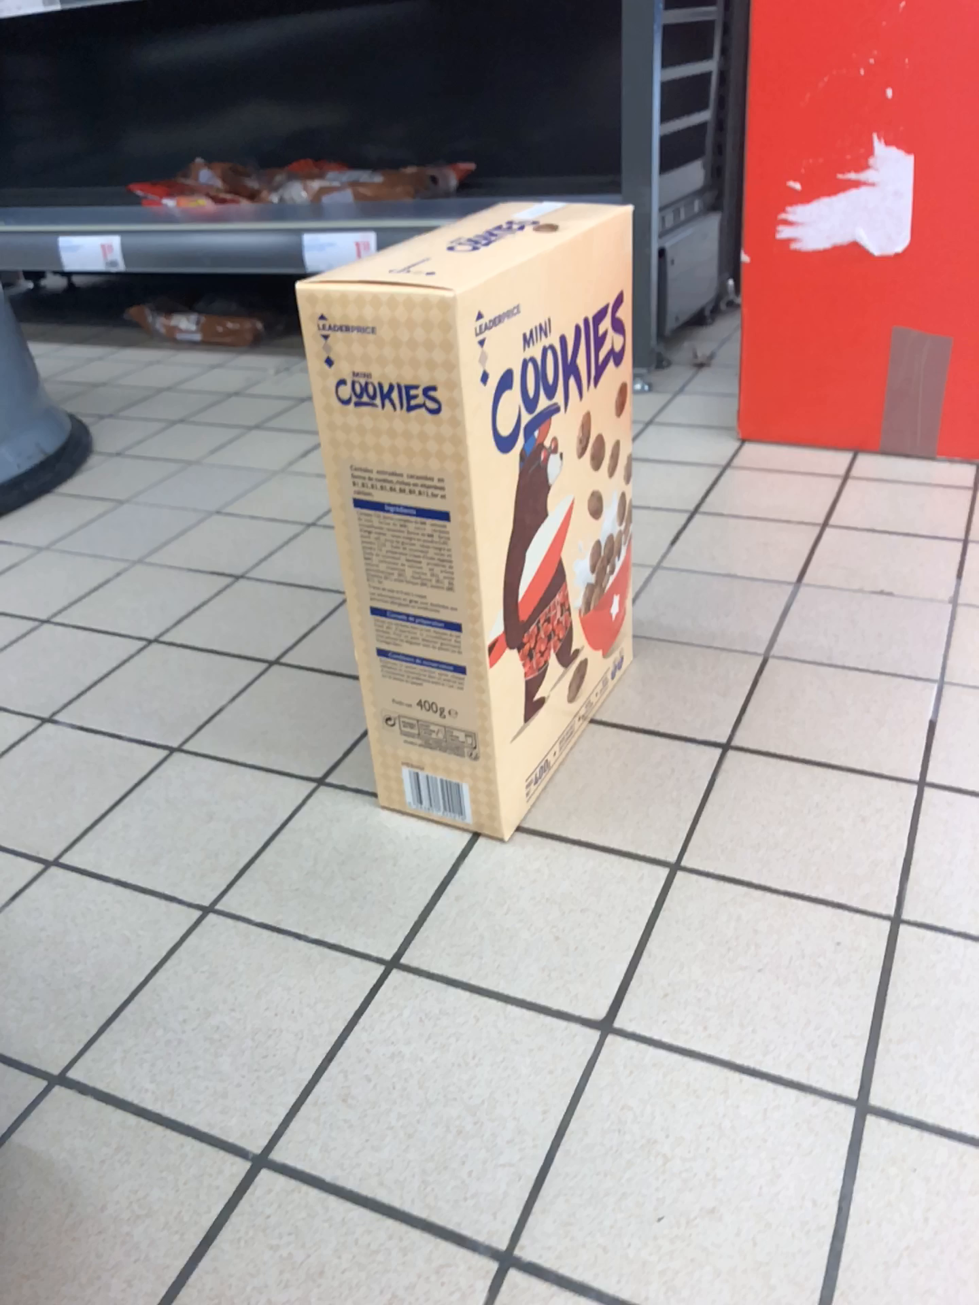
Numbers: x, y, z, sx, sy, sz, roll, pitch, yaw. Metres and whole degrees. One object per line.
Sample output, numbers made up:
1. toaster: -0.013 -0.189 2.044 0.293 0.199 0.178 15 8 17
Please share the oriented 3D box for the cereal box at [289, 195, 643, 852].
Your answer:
1. cereal box: 0.009 -0.075 0.567 0.080 0.278 0.201 10 32 24
